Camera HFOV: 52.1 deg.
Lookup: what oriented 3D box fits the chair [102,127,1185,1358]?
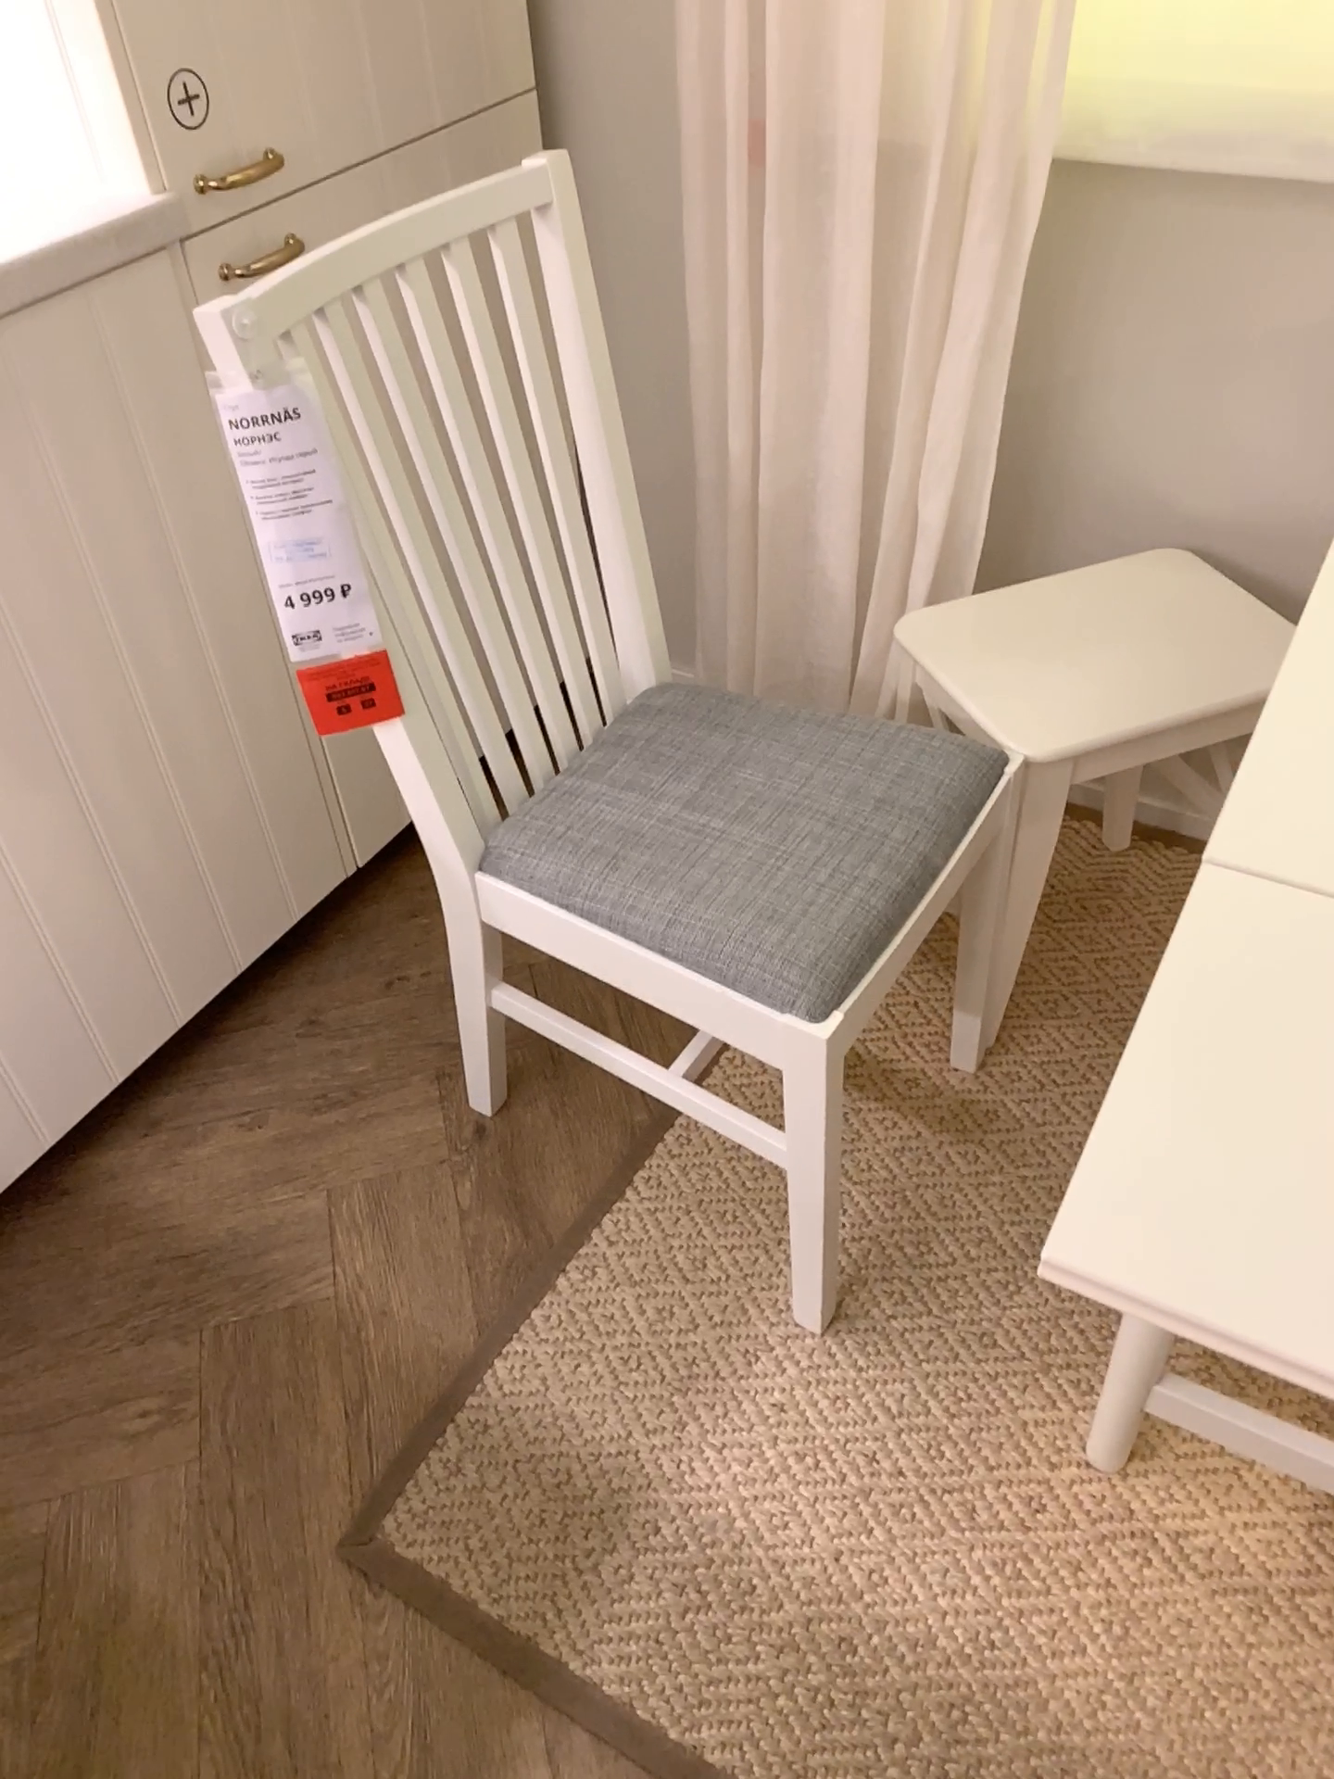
[{"bbox_3d":[0.021,-0.141,1.336,0.621,0.915,0.552,21,48,25],"label":"chair"}]

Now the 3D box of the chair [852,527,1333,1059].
[{"bbox_3d":[0.529,-0.130,1.663,0.460,0.388,0.402,-16,43,-12],"label":"chair"}]
